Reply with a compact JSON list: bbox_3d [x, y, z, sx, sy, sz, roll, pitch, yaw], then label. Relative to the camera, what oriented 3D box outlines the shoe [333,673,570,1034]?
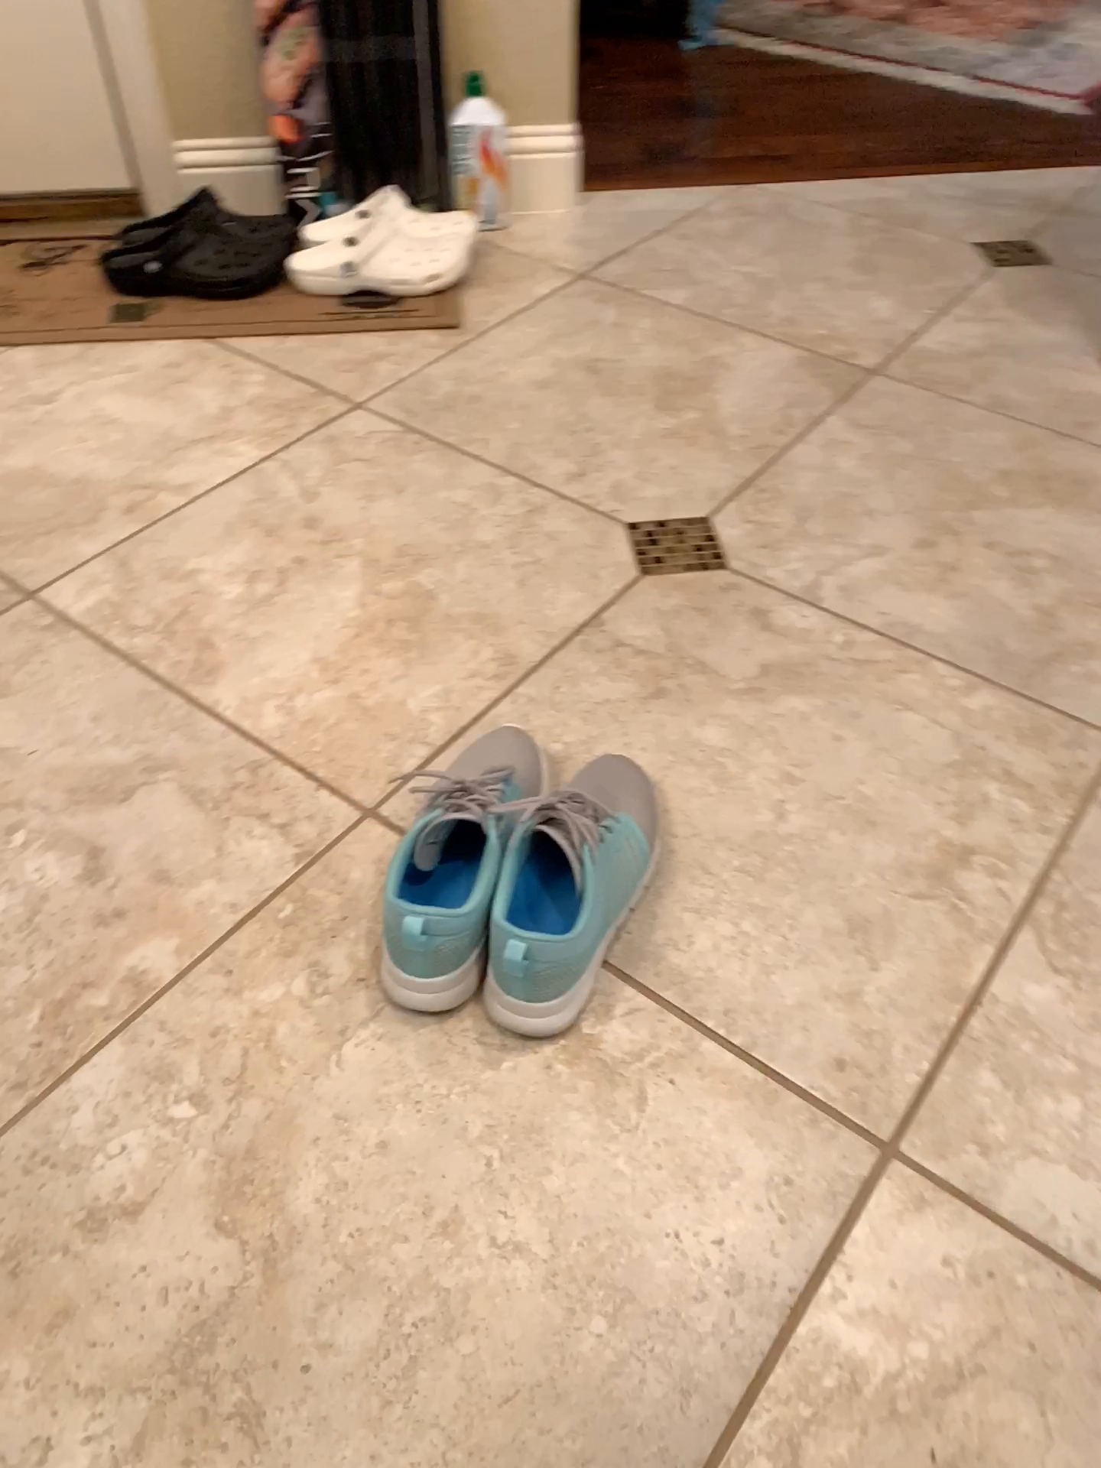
[{"bbox_3d":[-0.069,0.088,0.920,0.106,0.108,0.272,11,46,10],"label":"shoe"}]

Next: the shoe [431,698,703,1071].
[{"bbox_3d":[0.021,0.110,0.902,0.106,0.108,0.272,18,48,17],"label":"shoe"}]
